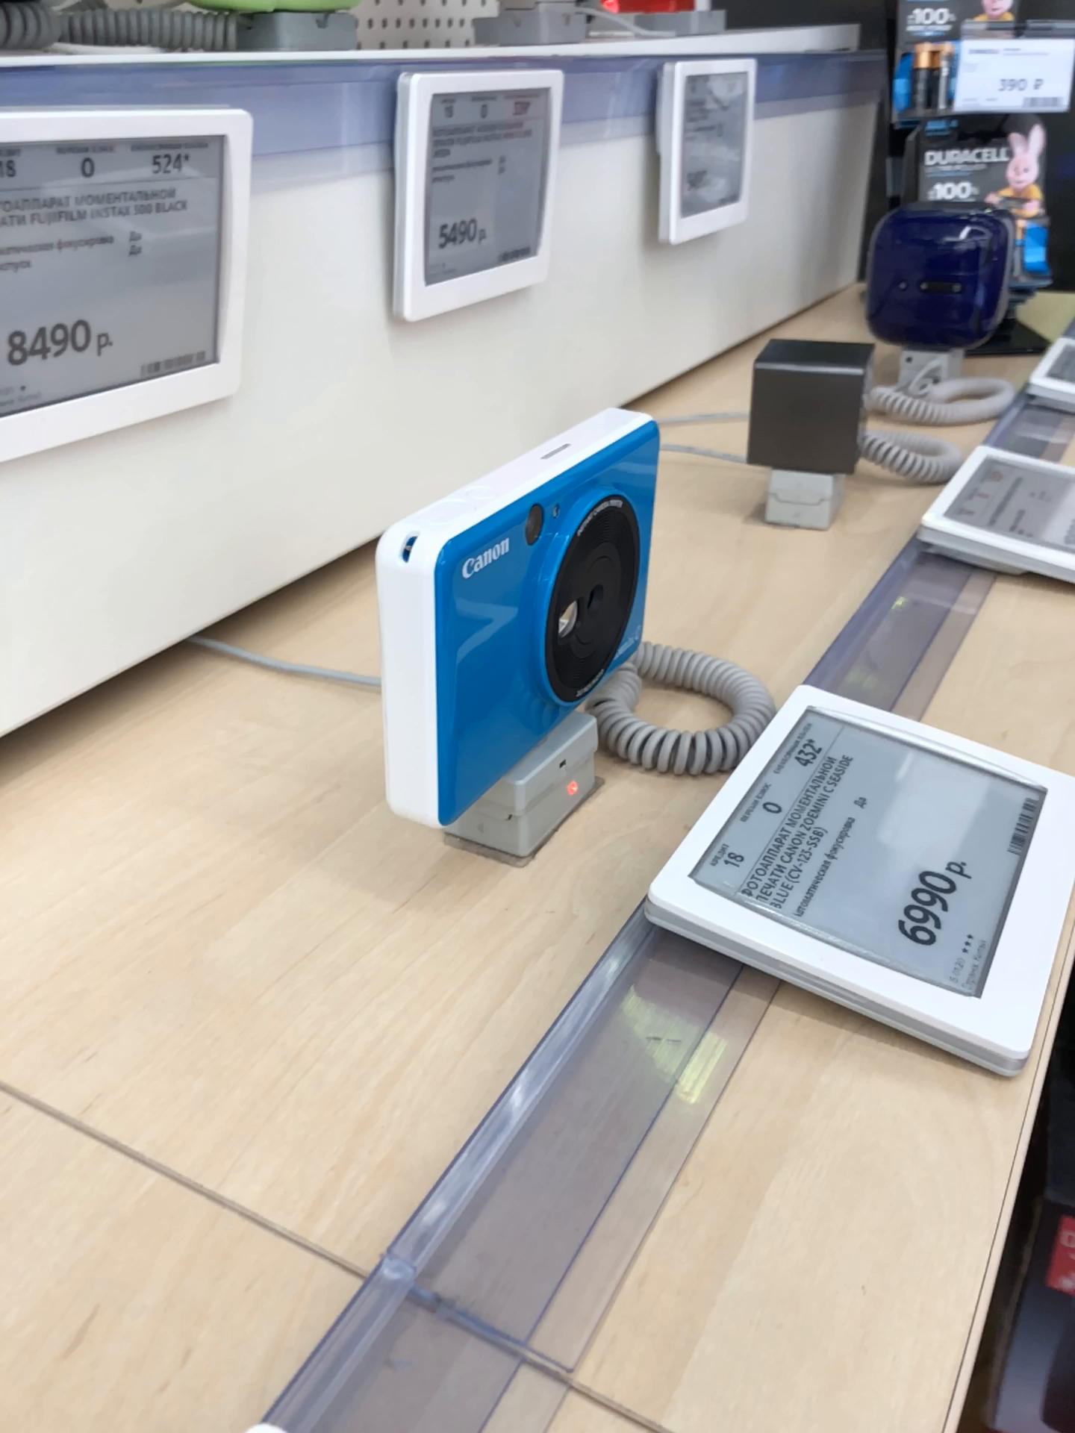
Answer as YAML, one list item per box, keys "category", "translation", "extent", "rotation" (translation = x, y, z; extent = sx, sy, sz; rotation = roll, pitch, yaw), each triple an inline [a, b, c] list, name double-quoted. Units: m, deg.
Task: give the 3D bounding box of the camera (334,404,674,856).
- category: "camera"
  translation: [-0.004, -0.028, 0.309]
  extent: [0.025, 0.072, 0.120]
  rotation: [18, 35, 24]
